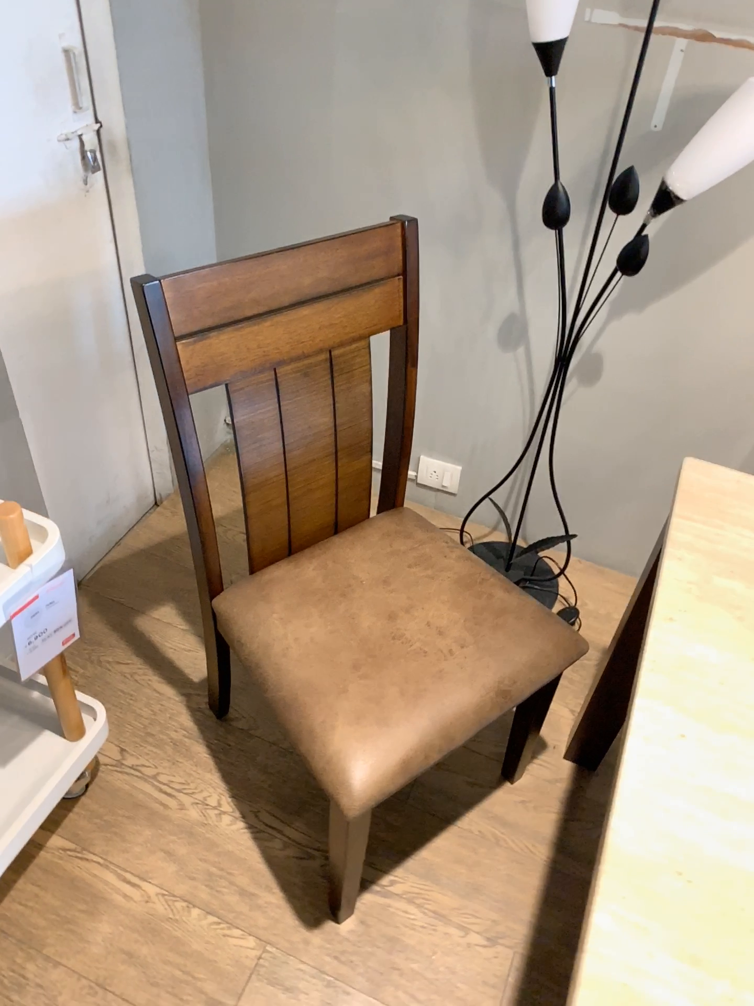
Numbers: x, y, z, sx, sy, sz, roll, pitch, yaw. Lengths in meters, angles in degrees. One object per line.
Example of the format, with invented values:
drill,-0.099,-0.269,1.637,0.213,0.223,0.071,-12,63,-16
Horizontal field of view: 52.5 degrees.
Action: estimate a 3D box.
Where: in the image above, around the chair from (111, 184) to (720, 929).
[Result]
chair,0.000,0.114,1.265,0.511,0.996,0.551,-26,51,-30
